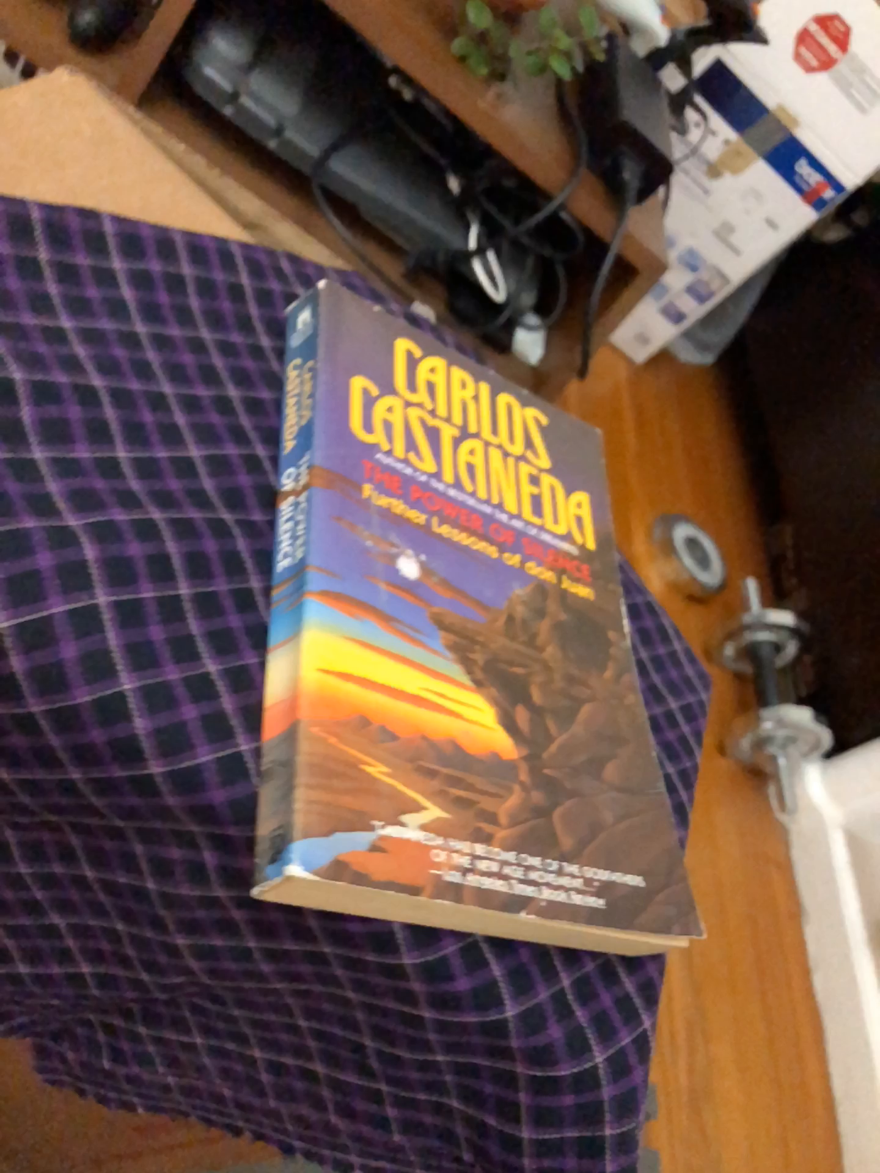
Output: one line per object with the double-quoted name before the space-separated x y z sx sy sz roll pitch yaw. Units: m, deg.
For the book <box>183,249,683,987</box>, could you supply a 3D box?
"book" 0.004 0.004 0.322 0.151 0.020 0.221 22 49 -31
